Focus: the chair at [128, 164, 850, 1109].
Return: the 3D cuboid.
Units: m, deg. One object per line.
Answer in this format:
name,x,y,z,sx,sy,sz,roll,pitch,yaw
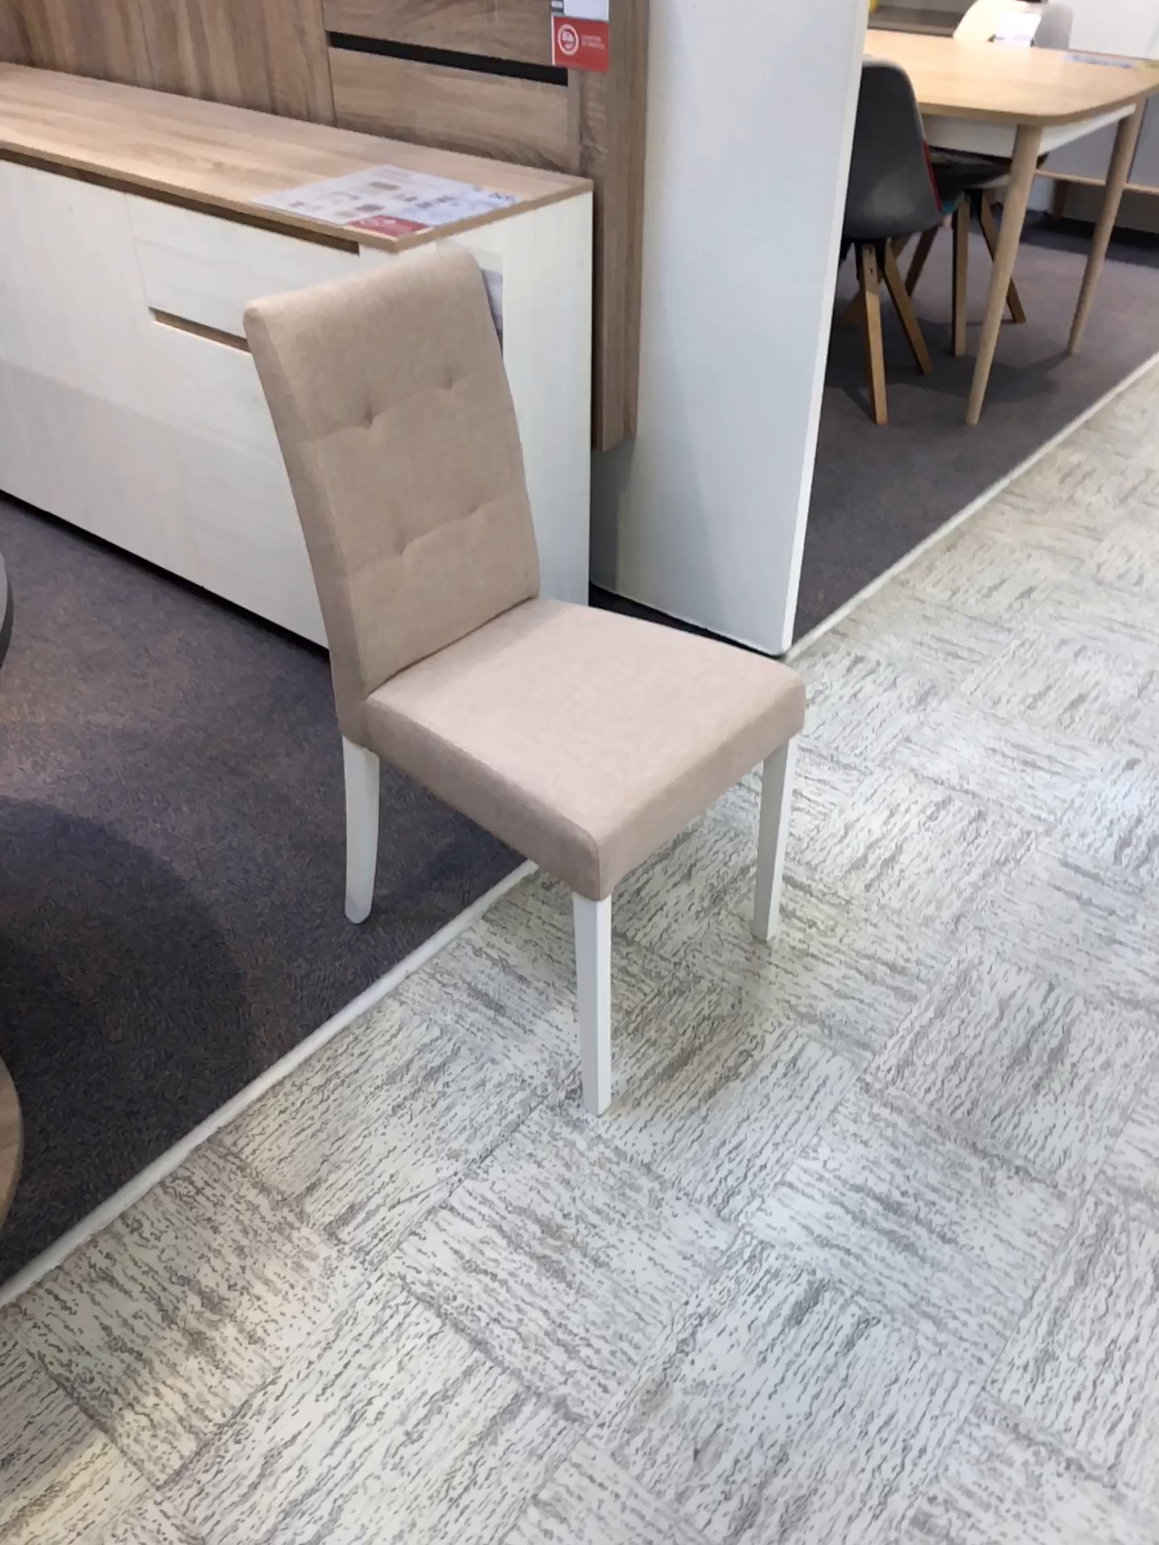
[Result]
chair,-0.085,-0.161,1.454,0.530,0.855,0.433,26,44,30
